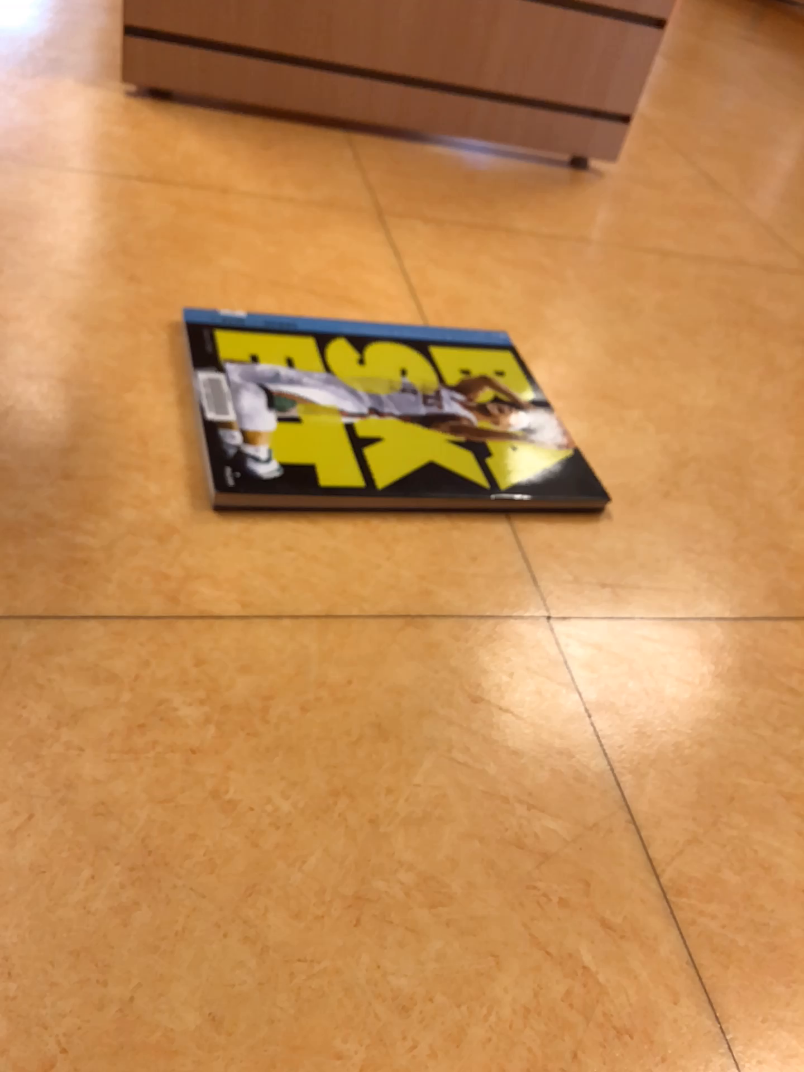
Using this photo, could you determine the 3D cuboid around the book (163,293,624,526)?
[{"bbox_3d":[-0.014,-0.081,0.552,0.245,0.020,0.201,0,43,-20],"label":"book"}]
